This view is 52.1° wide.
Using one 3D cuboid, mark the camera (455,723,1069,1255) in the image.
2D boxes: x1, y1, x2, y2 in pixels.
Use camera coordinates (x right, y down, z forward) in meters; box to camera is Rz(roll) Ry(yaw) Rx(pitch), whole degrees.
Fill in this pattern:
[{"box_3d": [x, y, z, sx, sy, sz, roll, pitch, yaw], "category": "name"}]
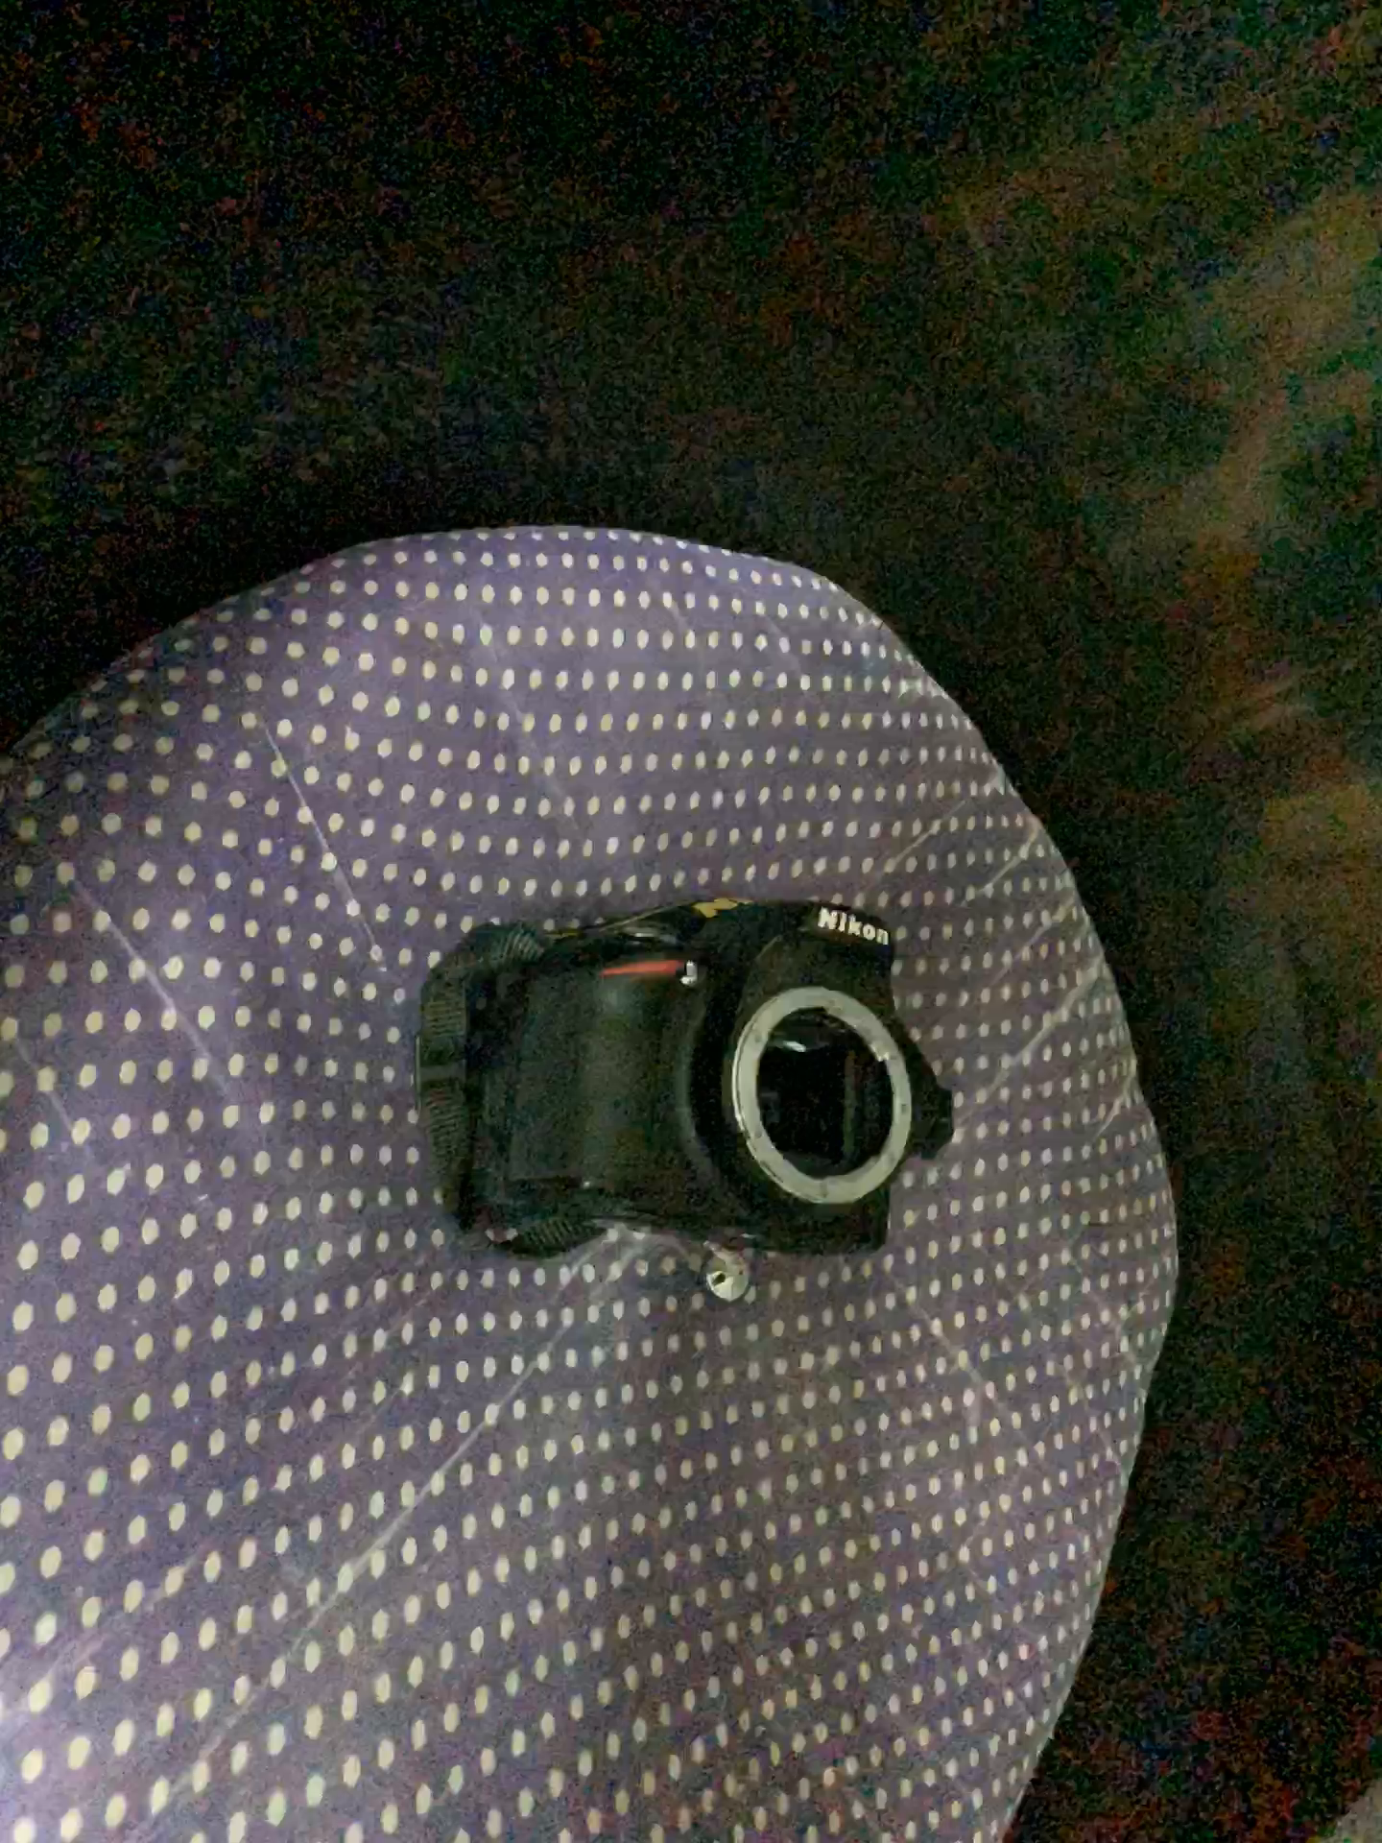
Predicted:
[{"box_3d": [0.023, 0.028, 0.384, 0.140, 0.080, 0.110, 13, 71, -31], "category": "camera"}]
